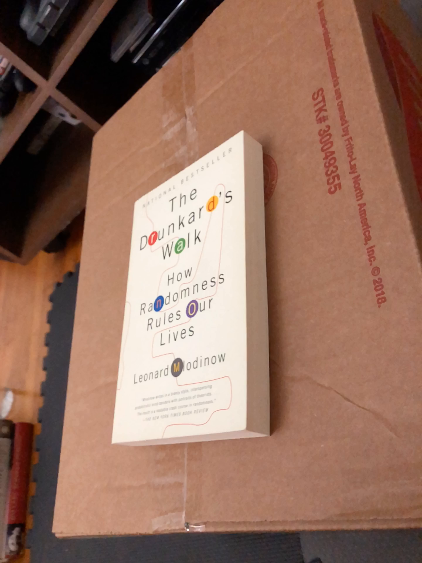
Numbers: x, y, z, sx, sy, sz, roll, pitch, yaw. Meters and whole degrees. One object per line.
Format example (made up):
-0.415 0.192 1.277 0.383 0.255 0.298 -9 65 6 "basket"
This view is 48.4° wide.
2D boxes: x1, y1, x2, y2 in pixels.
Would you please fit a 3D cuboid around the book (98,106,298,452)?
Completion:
-0.014 0.004 0.331 0.140 0.040 0.210 -23 56 42 "book"
